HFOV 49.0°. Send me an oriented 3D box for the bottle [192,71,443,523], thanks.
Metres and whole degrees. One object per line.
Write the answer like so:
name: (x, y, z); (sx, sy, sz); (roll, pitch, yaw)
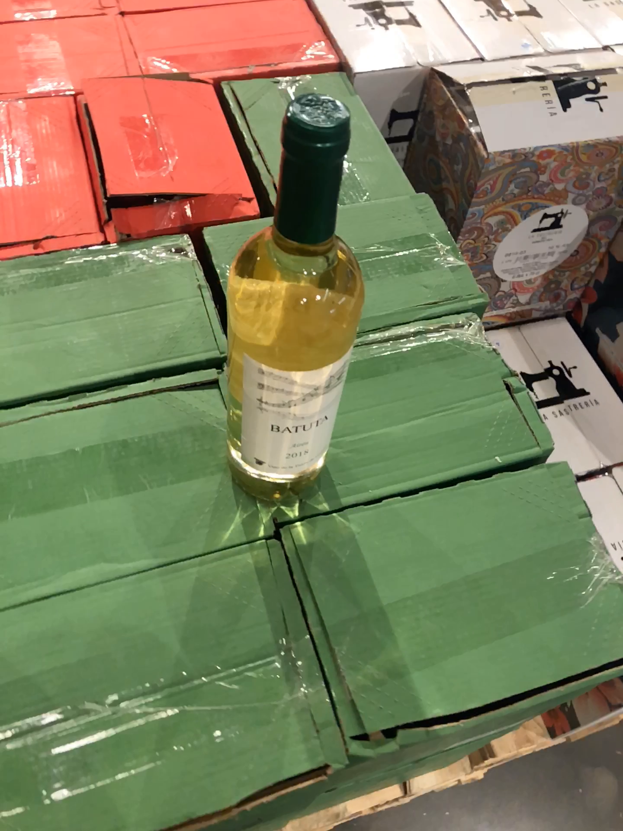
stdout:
bottle: (-0.011, -0.042, 0.390); (0.080, 0.262, 0.084); (3, 56, -4)
